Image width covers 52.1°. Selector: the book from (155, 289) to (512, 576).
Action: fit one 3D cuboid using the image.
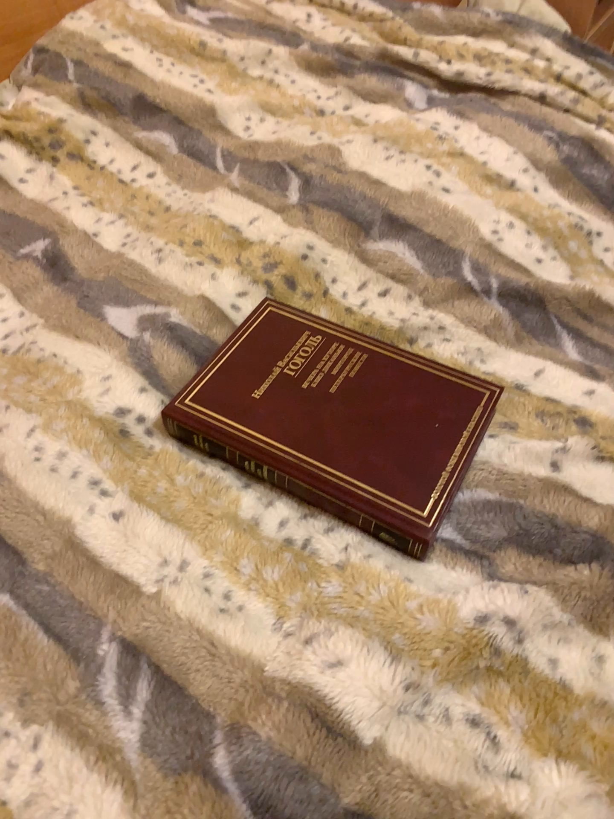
[{"bbox_3d":[0.022,0.004,0.464,0.210,0.040,0.150,24,55,17],"label":"book"}]
